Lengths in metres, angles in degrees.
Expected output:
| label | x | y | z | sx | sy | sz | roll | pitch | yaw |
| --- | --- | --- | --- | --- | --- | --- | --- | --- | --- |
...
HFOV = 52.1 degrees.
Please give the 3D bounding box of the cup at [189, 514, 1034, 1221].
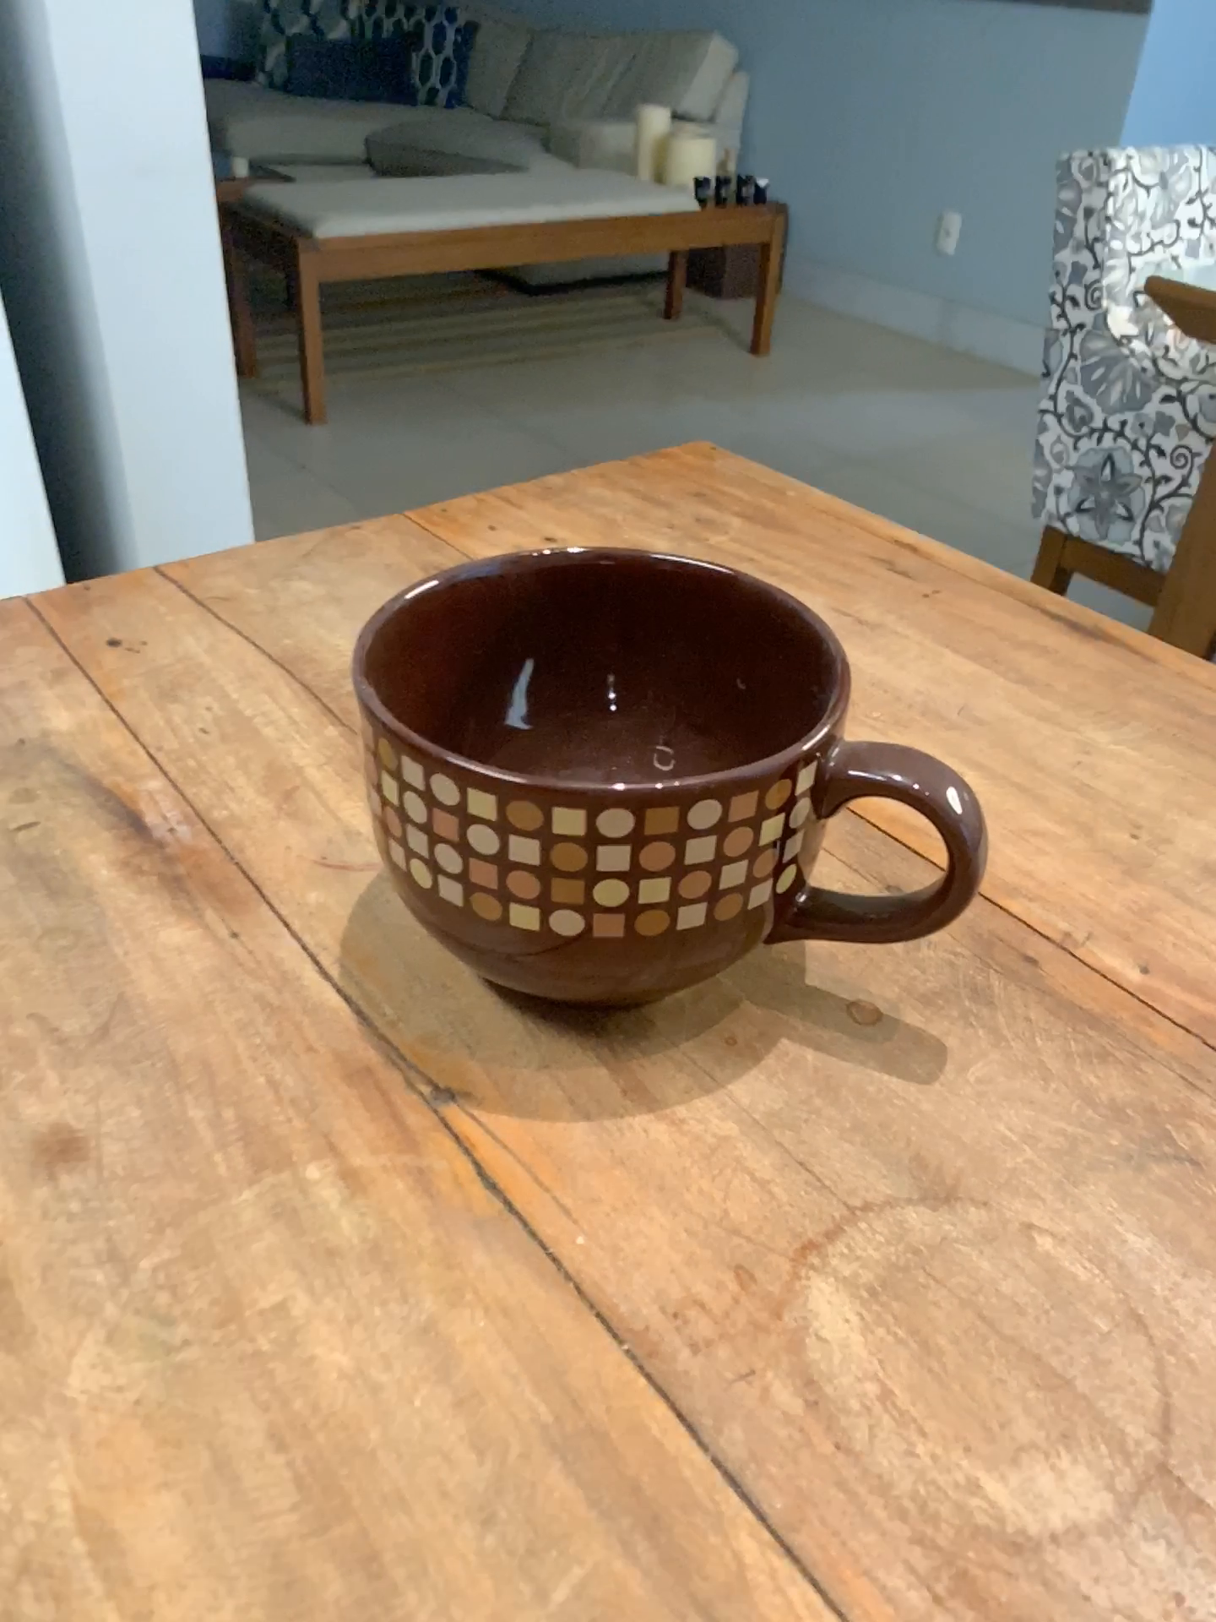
| label | x | y | z | sx | sy | sz | roll | pitch | yaw |
| --- | --- | --- | --- | --- | --- | --- | --- | --- | --- |
| cup | 0.007 | 0.000 | 0.352 | 0.180 | 0.089 | 0.141 | 17 | 37 | 19 |
